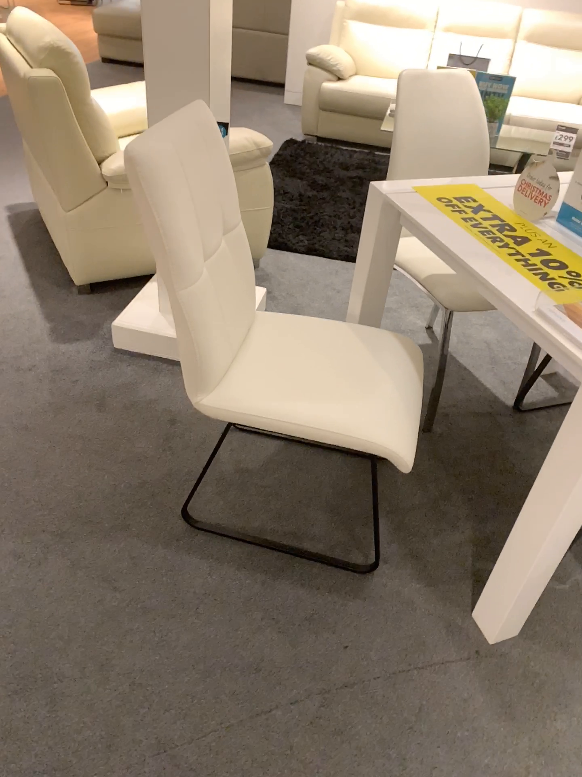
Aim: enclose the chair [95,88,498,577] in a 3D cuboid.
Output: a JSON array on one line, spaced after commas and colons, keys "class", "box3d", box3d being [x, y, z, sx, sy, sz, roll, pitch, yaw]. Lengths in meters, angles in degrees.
[{"class": "chair", "box3d": [0.011, -0.118, 1.391, 0.630, 0.891, 0.545, 11, 39, 6]}]
